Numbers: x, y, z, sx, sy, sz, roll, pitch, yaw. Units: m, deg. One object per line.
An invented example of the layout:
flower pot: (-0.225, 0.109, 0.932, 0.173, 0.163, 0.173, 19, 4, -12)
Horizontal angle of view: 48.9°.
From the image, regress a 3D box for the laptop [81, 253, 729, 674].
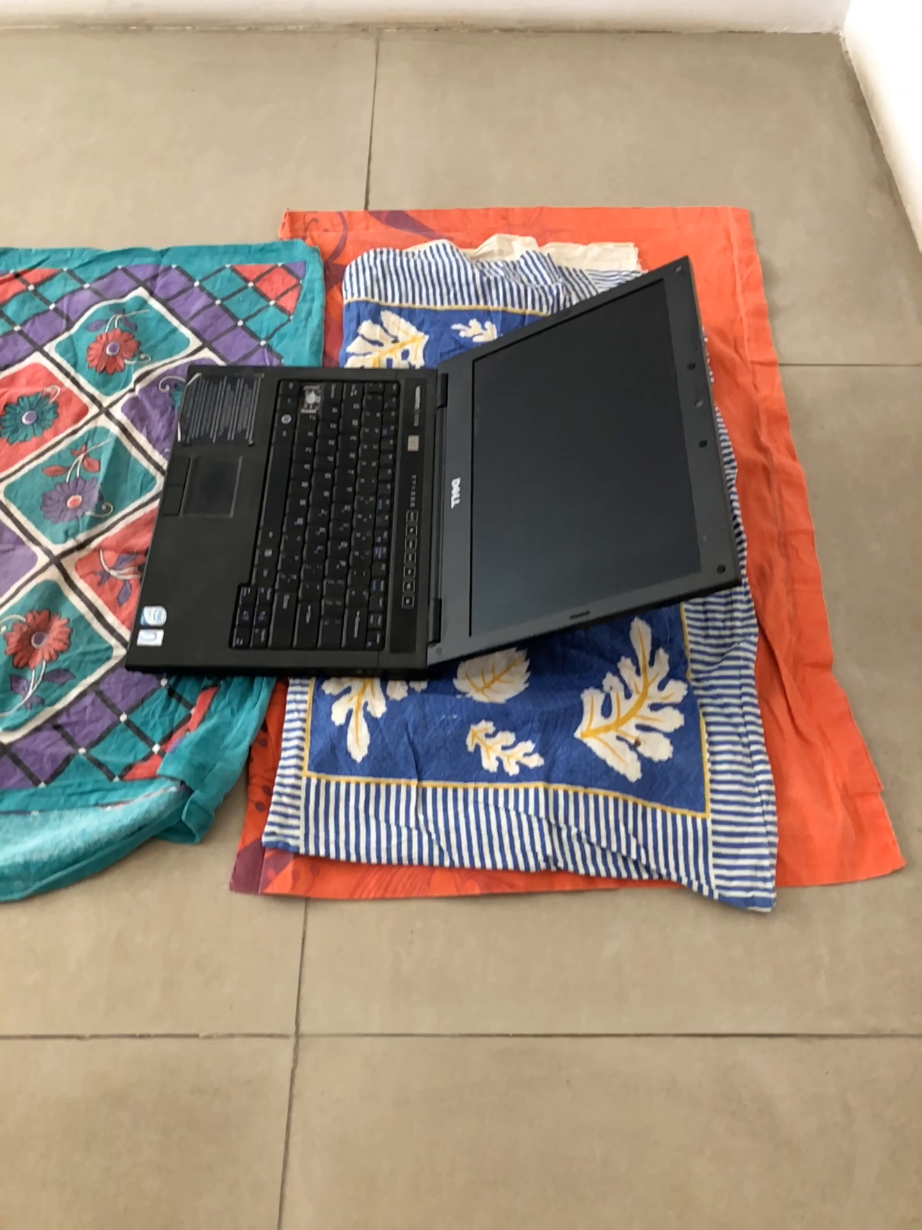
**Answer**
laptop: (-0.034, -0.123, 0.792, 0.419, 0.124, 0.307, 1, 58, -2)
